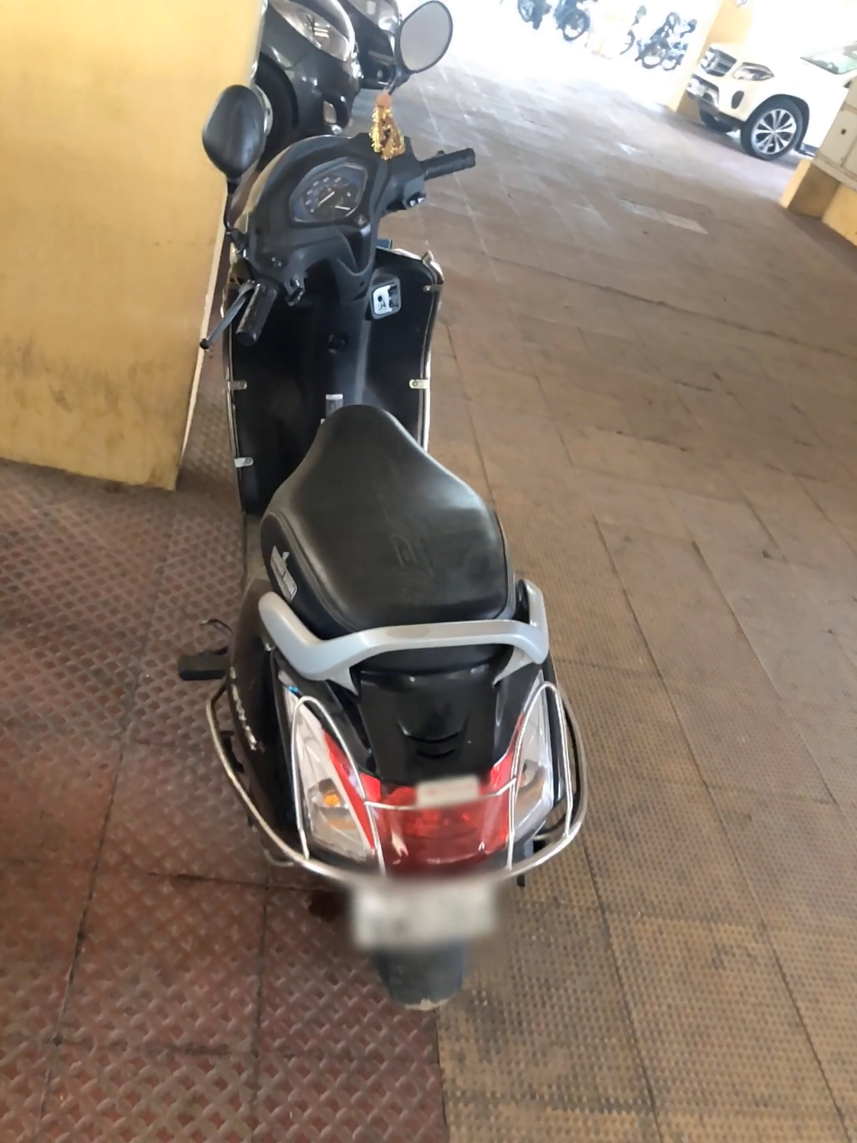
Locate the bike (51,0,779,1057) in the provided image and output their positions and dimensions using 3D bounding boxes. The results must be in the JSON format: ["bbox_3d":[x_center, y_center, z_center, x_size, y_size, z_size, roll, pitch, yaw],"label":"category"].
[{"bbox_3d":[-0.288,-0.184,1.730,0.608,1.172,1.446,2,41,-26],"label":"bike"}]
